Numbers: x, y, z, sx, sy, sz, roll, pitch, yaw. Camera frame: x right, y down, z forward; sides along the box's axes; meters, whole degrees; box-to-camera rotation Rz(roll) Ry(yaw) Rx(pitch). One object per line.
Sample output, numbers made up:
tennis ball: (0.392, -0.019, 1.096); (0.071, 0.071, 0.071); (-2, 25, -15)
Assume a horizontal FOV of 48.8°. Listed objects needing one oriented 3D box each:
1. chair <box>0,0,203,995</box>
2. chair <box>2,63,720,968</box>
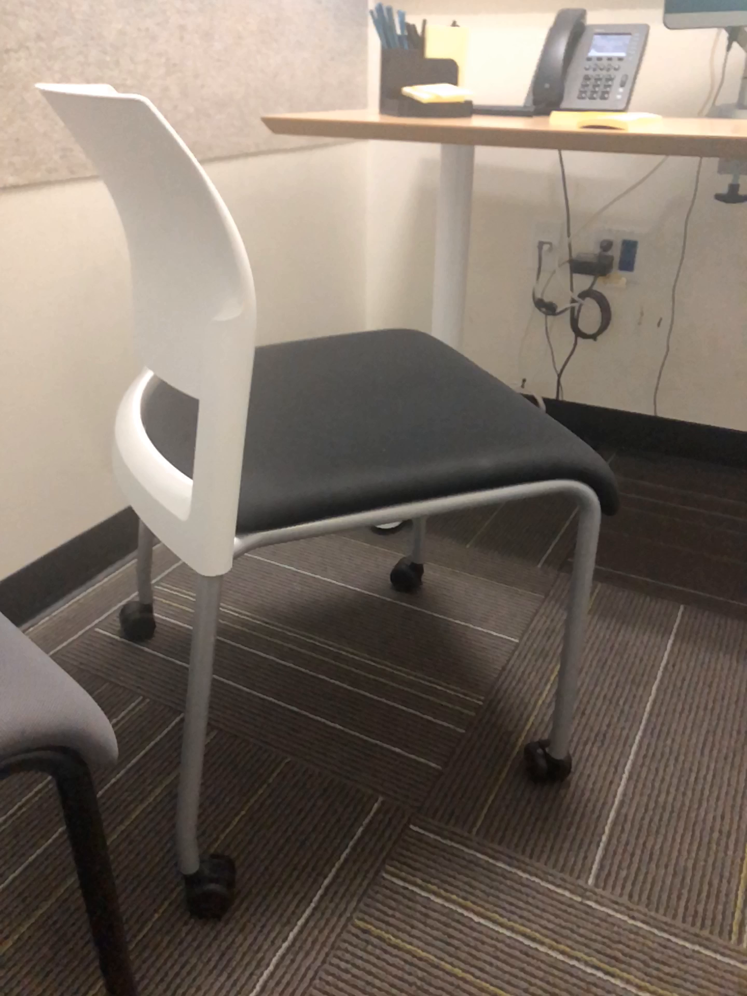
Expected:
chair: (-0.627, 0.191, 0.627); (0.701, 0.933, 0.654); (24, 32, 39)
chair: (-0.112, -0.060, 1.209); (0.652, 0.963, 0.703); (-8, 27, -25)
